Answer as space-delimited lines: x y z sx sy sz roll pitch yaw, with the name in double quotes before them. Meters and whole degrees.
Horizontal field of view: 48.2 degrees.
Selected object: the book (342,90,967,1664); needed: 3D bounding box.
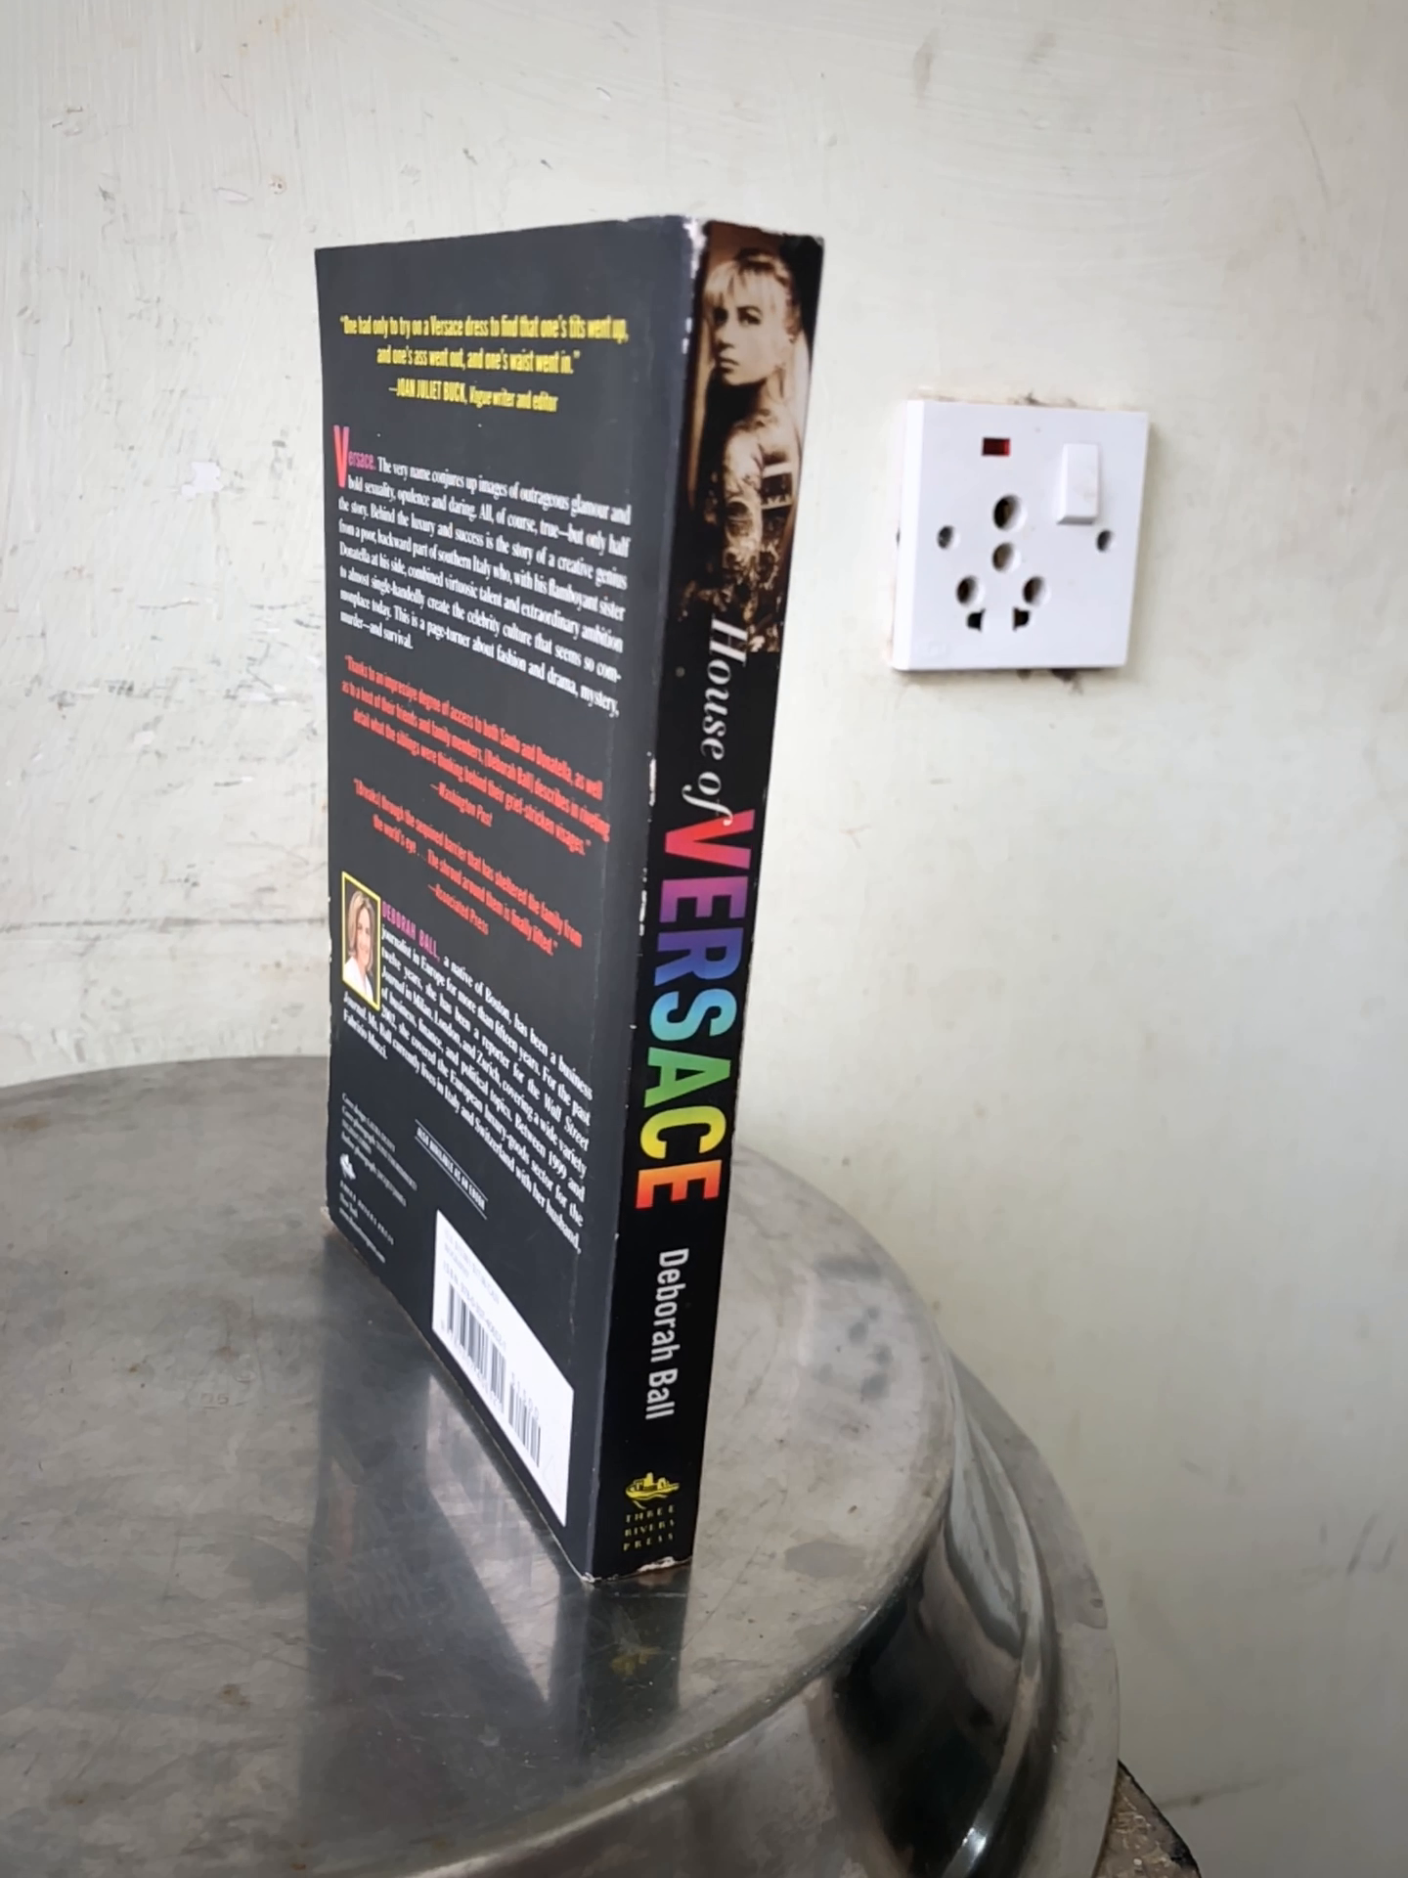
"book" -0.029 -0.020 0.301 0.040 0.219 0.180 -2 16 -24
